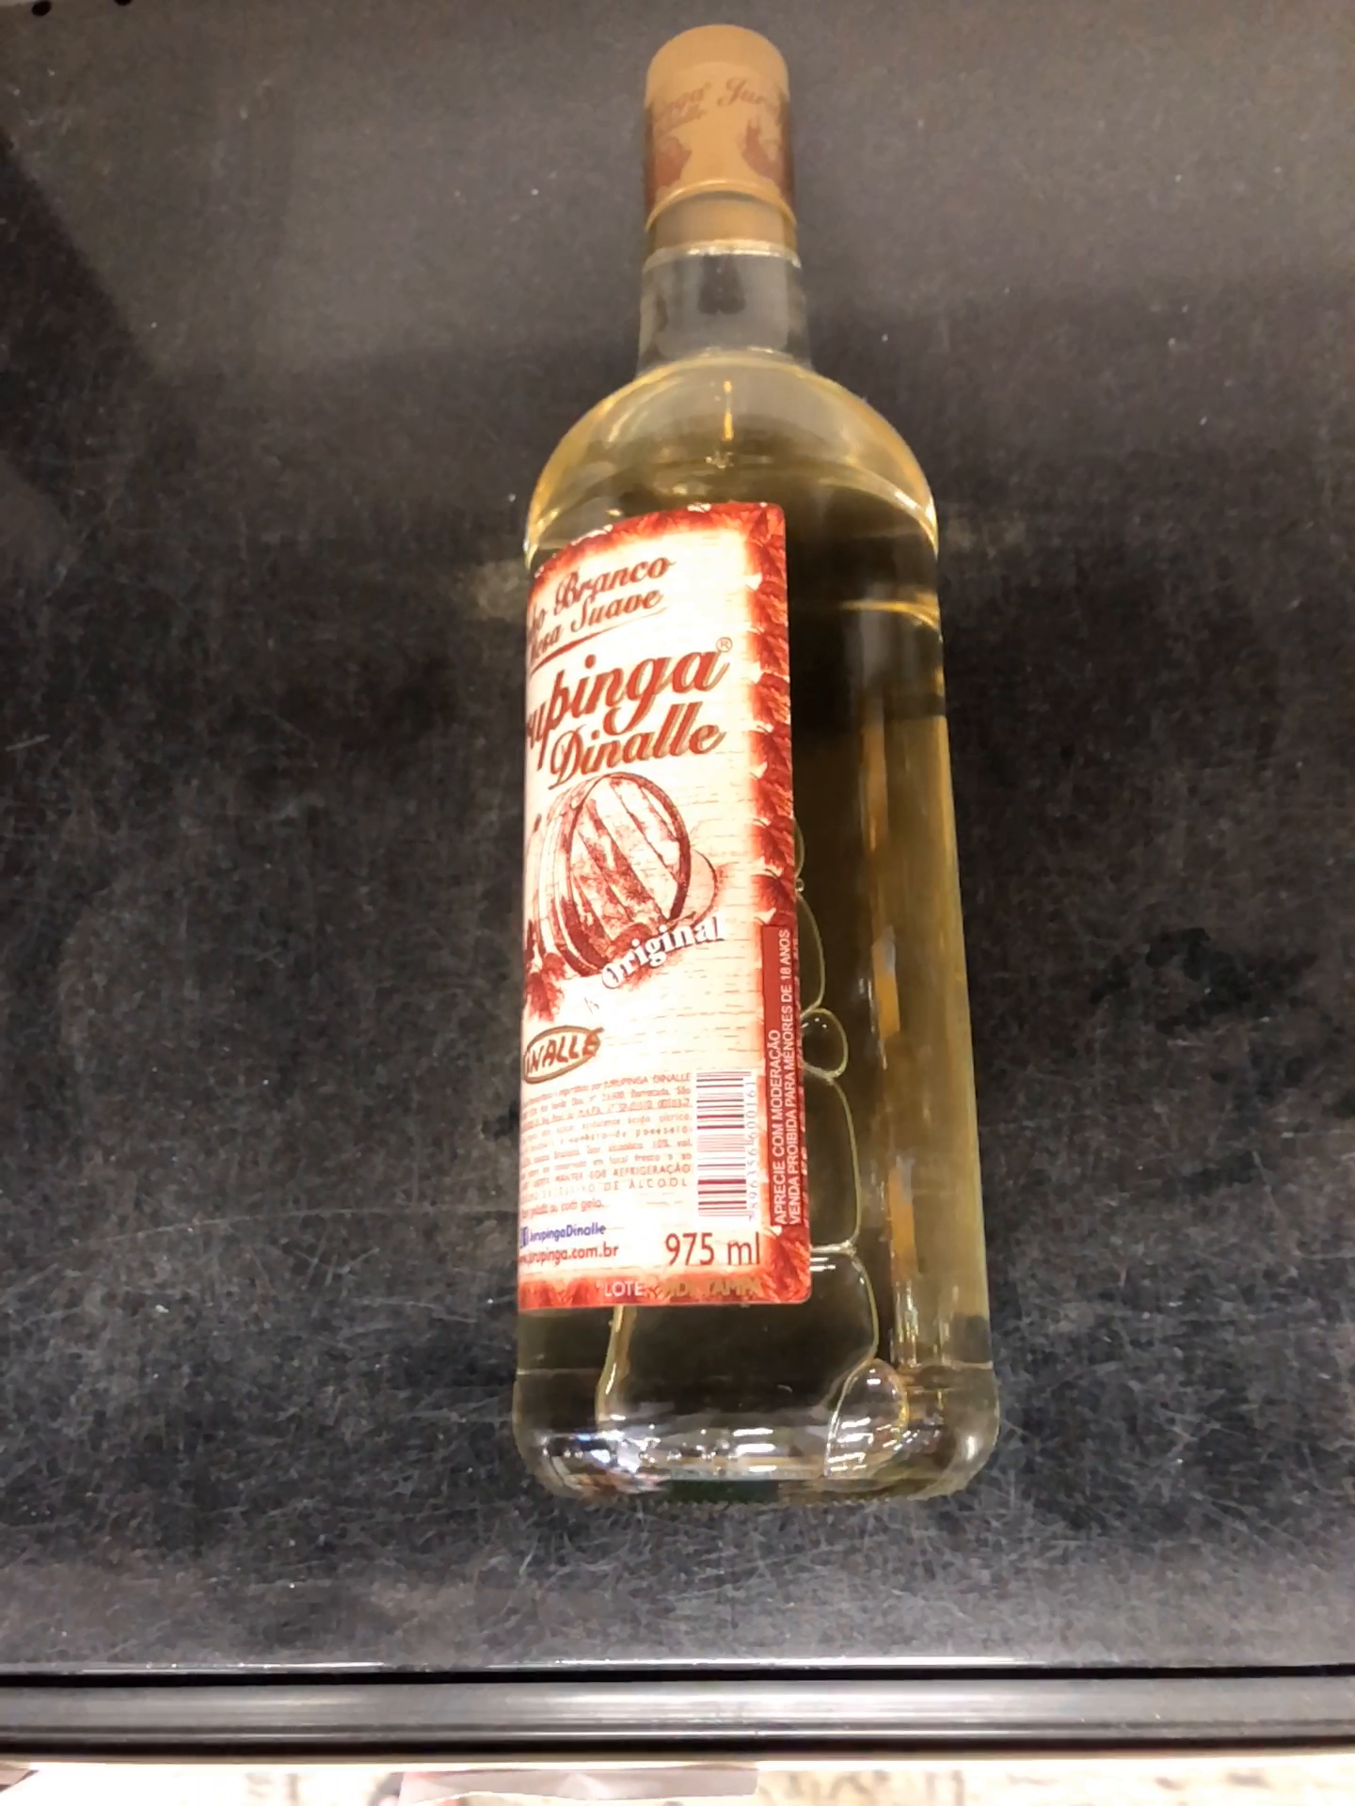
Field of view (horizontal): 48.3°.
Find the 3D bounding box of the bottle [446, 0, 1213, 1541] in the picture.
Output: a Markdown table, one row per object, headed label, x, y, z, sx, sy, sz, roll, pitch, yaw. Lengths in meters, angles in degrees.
| label | x | y | z | sx | sy | sz | roll | pitch | yaw |
| --- | --- | --- | --- | --- | --- | --- | --- | --- | --- |
| bottle | 0.020 | -0.049 | 0.289 | 0.100 | 0.080 | 0.300 | 7 | 74 | -27 |
